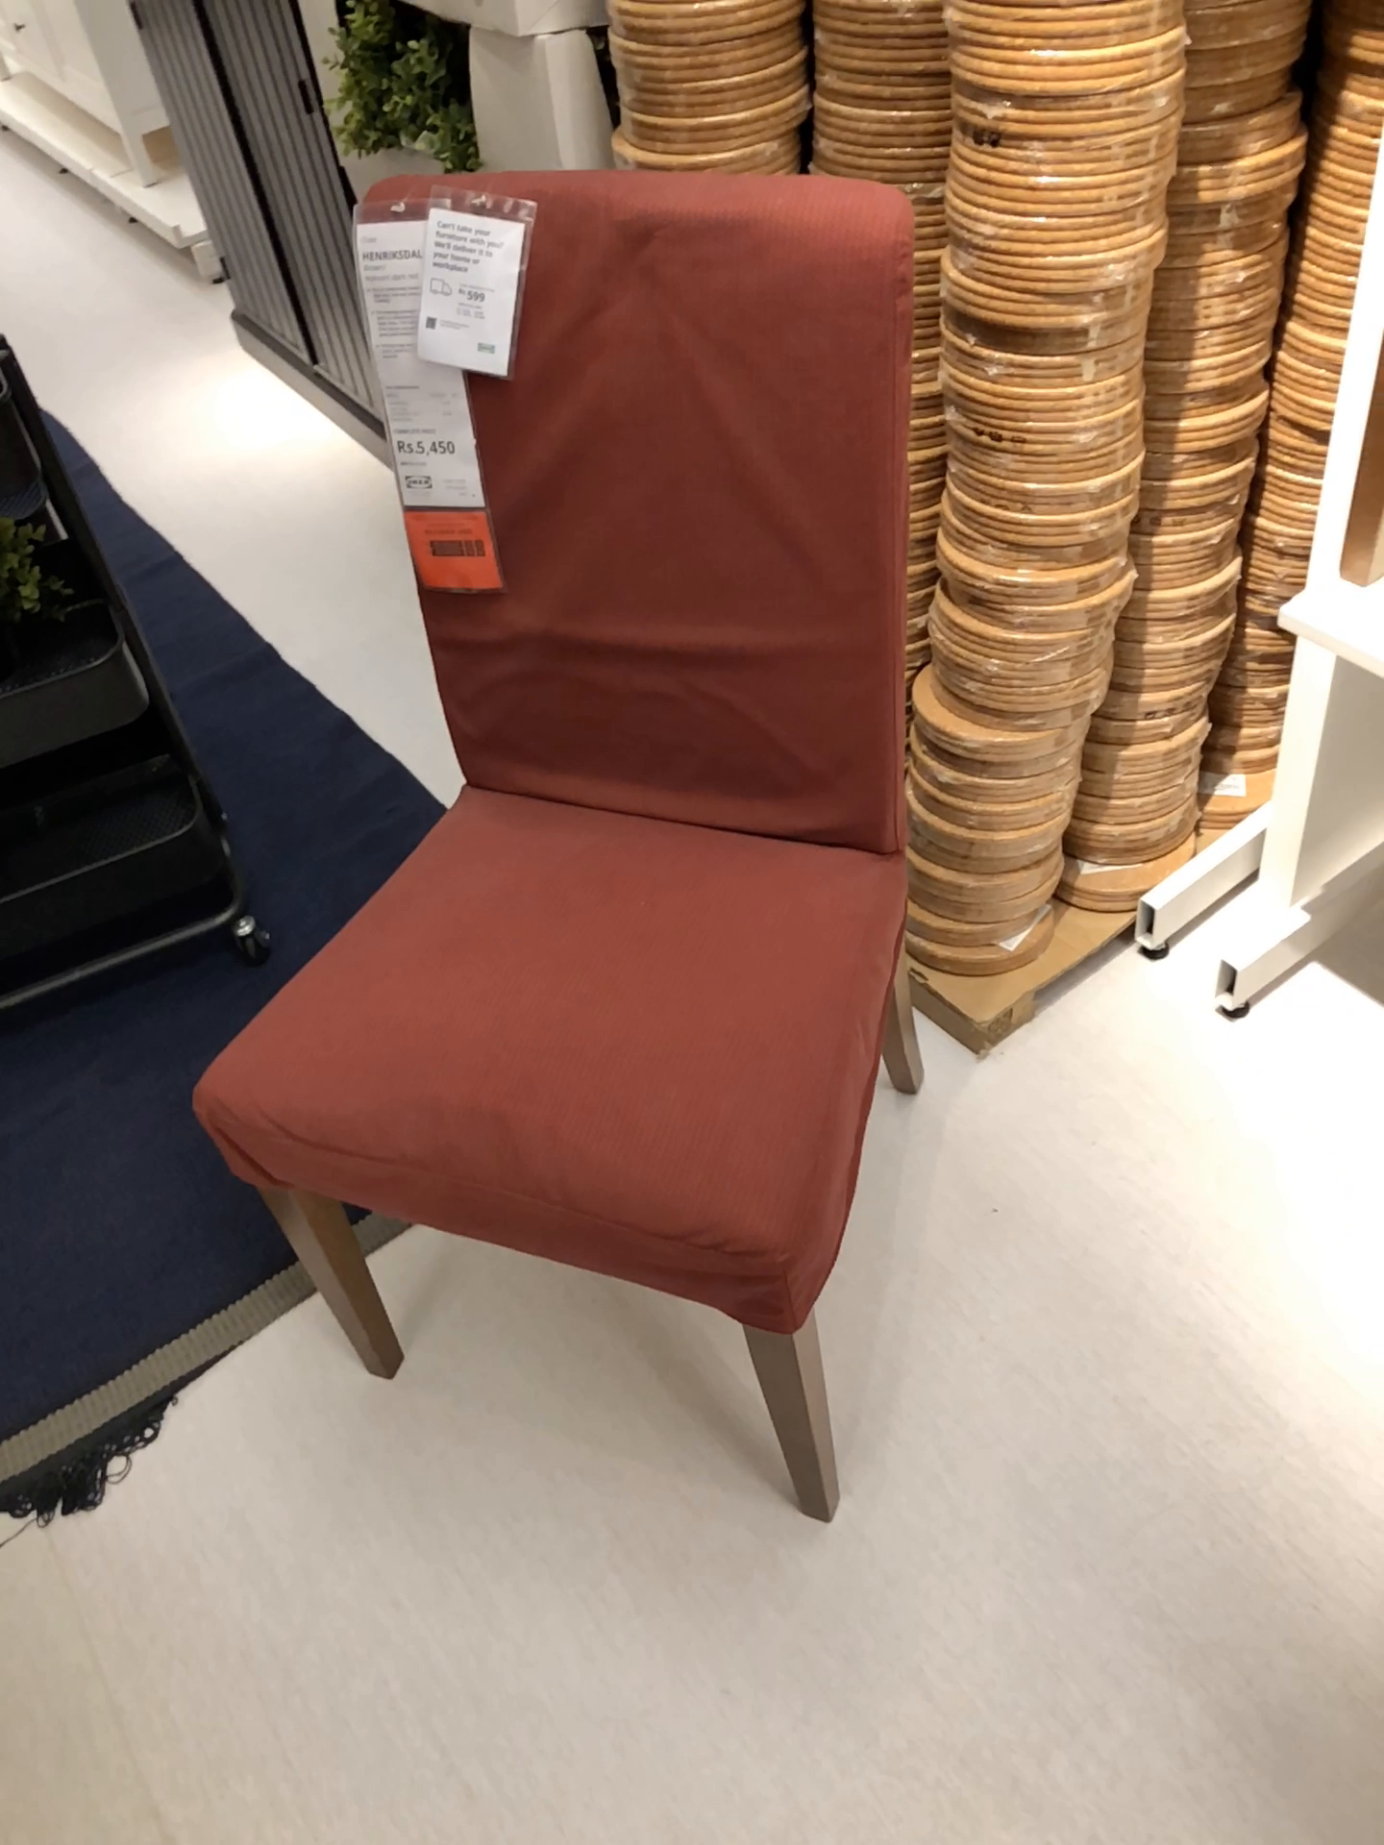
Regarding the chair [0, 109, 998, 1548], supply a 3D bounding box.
[{"bbox_3d":[-0.076,-0.029,1.237,0.521,0.994,0.532,11,49,21],"label":"chair"}]
